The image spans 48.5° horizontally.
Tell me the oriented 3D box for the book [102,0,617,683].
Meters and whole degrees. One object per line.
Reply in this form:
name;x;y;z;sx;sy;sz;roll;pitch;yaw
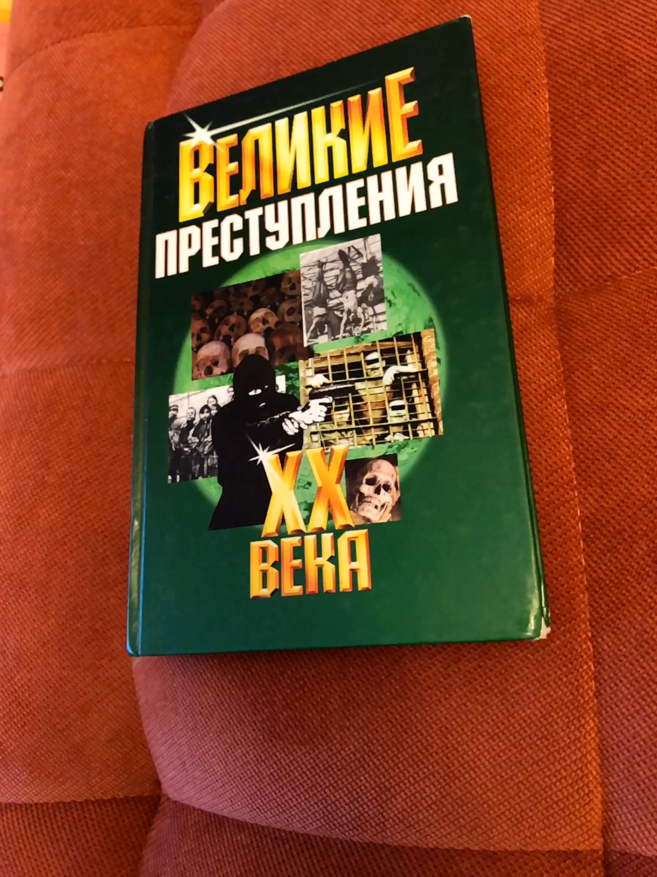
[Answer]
book;0.004;-0.034;0.264;0.160;0.040;0.230;-8;72;22
